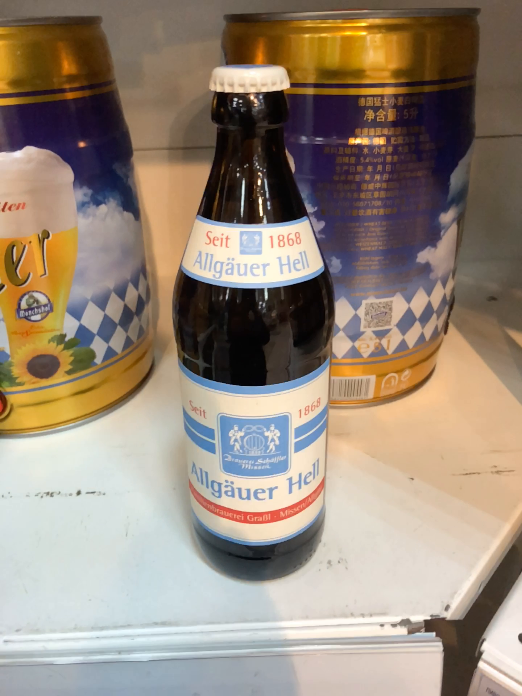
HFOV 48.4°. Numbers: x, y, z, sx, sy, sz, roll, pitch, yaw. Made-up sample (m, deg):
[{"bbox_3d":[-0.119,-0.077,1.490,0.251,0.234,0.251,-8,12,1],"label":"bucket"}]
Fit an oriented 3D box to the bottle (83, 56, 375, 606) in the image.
[{"bbox_3d":[-0.006,0.001,0.247,0.080,0.219,0.080,-2,29,1],"label":"bottle"}]
